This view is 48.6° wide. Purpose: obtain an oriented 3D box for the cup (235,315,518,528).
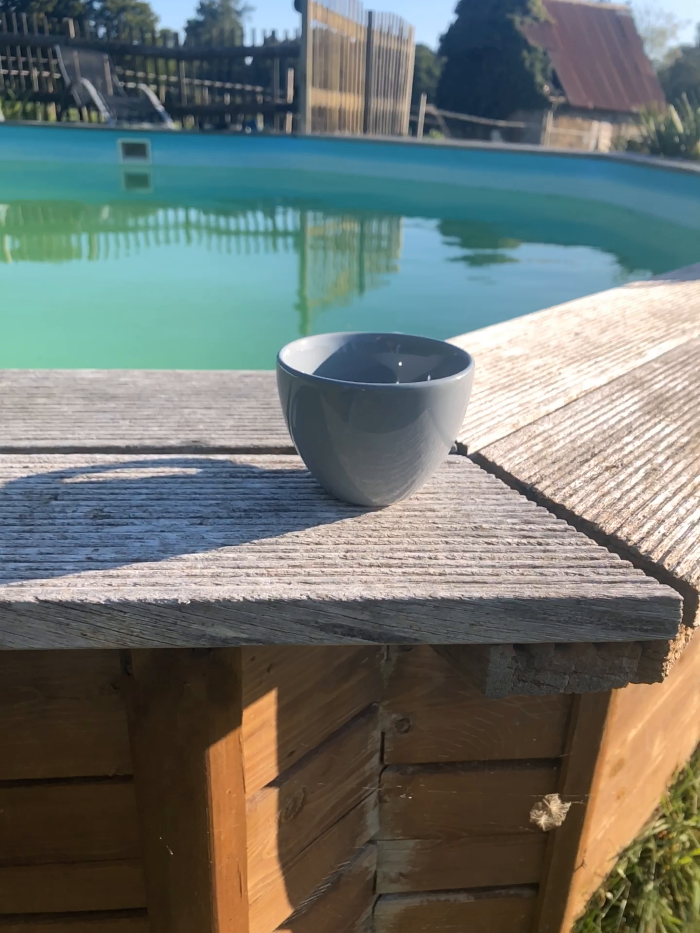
[{"bbox_3d":[0.016,-0.028,0.355,0.091,0.052,0.106,13,26,22],"label":"cup"}]
